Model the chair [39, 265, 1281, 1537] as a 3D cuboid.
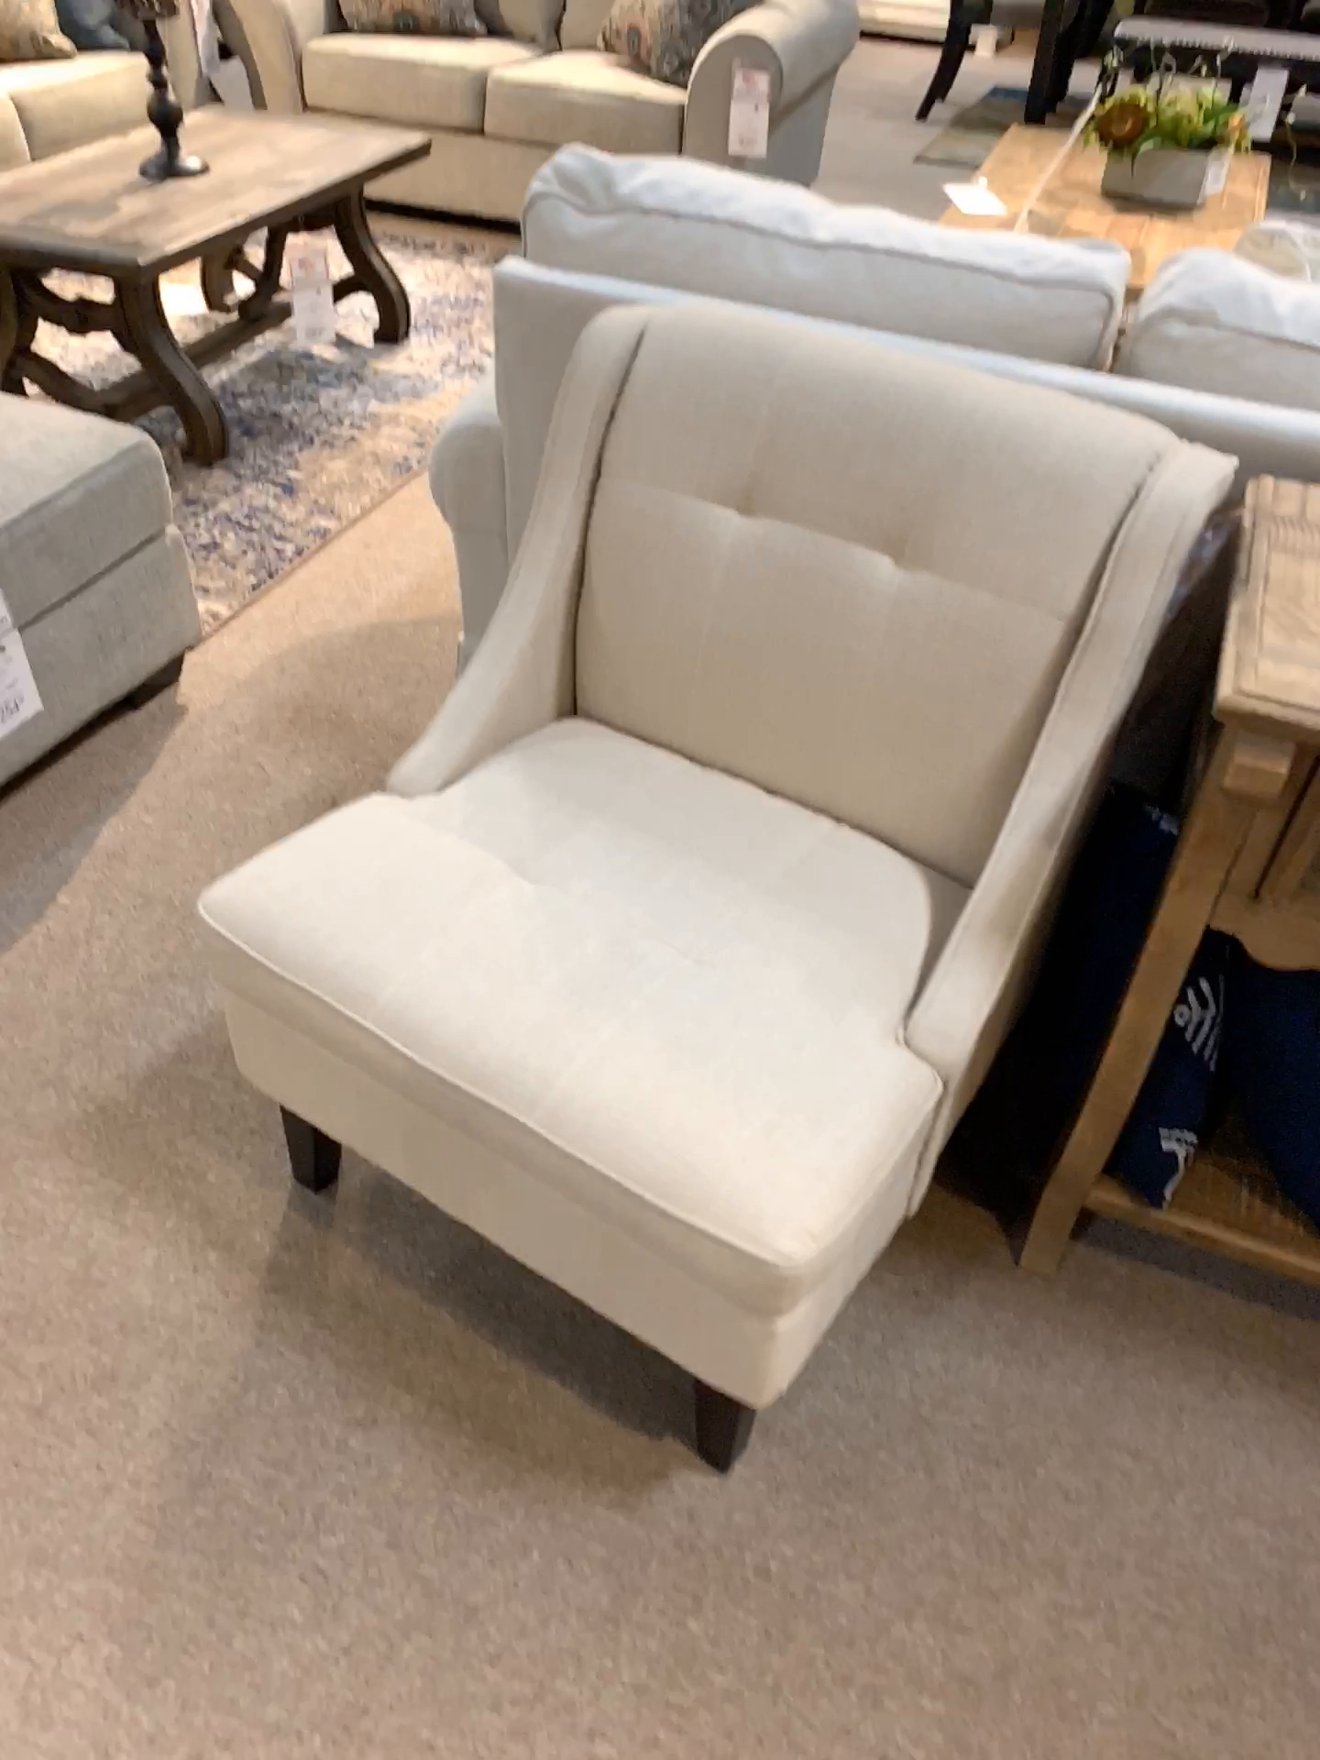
[{"bbox_3d":[0.029,-0.040,1.364,0.715,0.800,0.773,26,46,24],"label":"chair"}]
